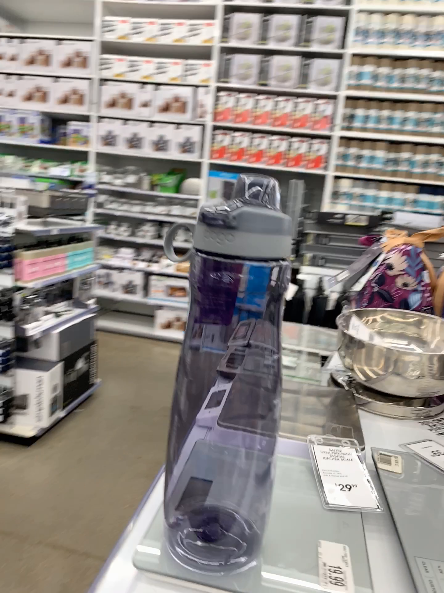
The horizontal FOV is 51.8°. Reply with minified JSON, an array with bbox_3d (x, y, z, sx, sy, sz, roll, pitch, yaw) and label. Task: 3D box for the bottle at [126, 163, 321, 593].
[{"bbox_3d":[0.001,0.061,0.368,0.100,0.309,0.100,6,12,-1],"label":"bottle"}]
